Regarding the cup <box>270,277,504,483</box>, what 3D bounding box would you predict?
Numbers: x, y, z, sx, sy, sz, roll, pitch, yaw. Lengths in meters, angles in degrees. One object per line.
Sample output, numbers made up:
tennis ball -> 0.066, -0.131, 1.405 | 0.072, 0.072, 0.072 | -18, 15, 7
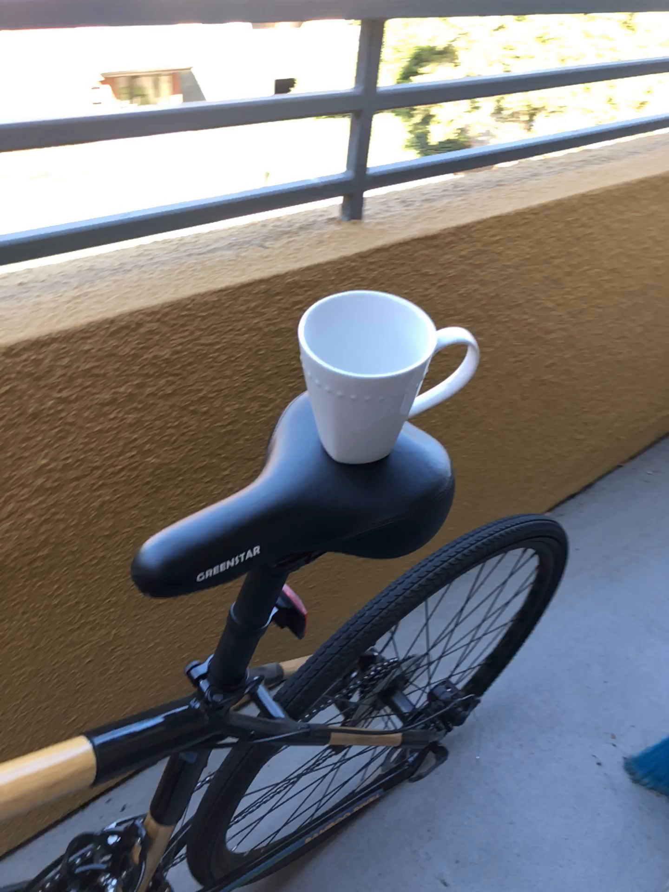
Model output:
cup -> 0.032, -0.051, 0.537 | 0.130, 0.099, 0.090 | -10, 43, -21
